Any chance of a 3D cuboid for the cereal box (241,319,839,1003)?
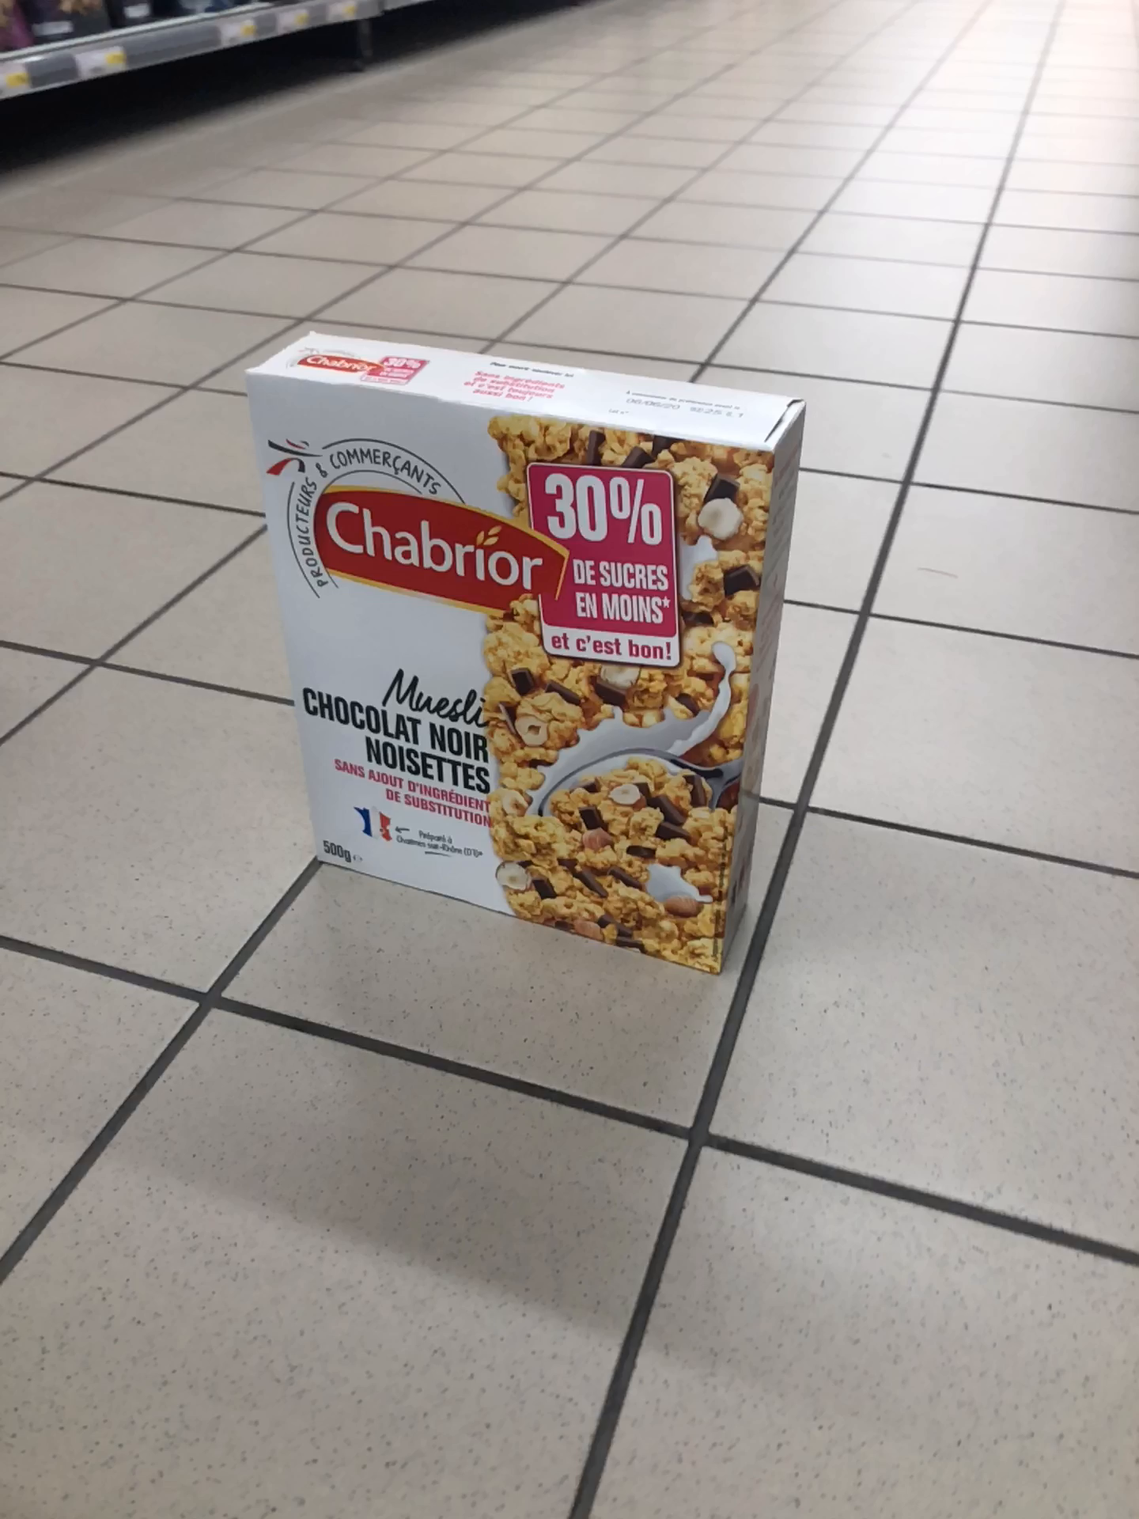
[{"bbox_3d":[-0.013,-0.034,0.495,0.200,0.239,0.050,13,37,18],"label":"cereal box"}]
